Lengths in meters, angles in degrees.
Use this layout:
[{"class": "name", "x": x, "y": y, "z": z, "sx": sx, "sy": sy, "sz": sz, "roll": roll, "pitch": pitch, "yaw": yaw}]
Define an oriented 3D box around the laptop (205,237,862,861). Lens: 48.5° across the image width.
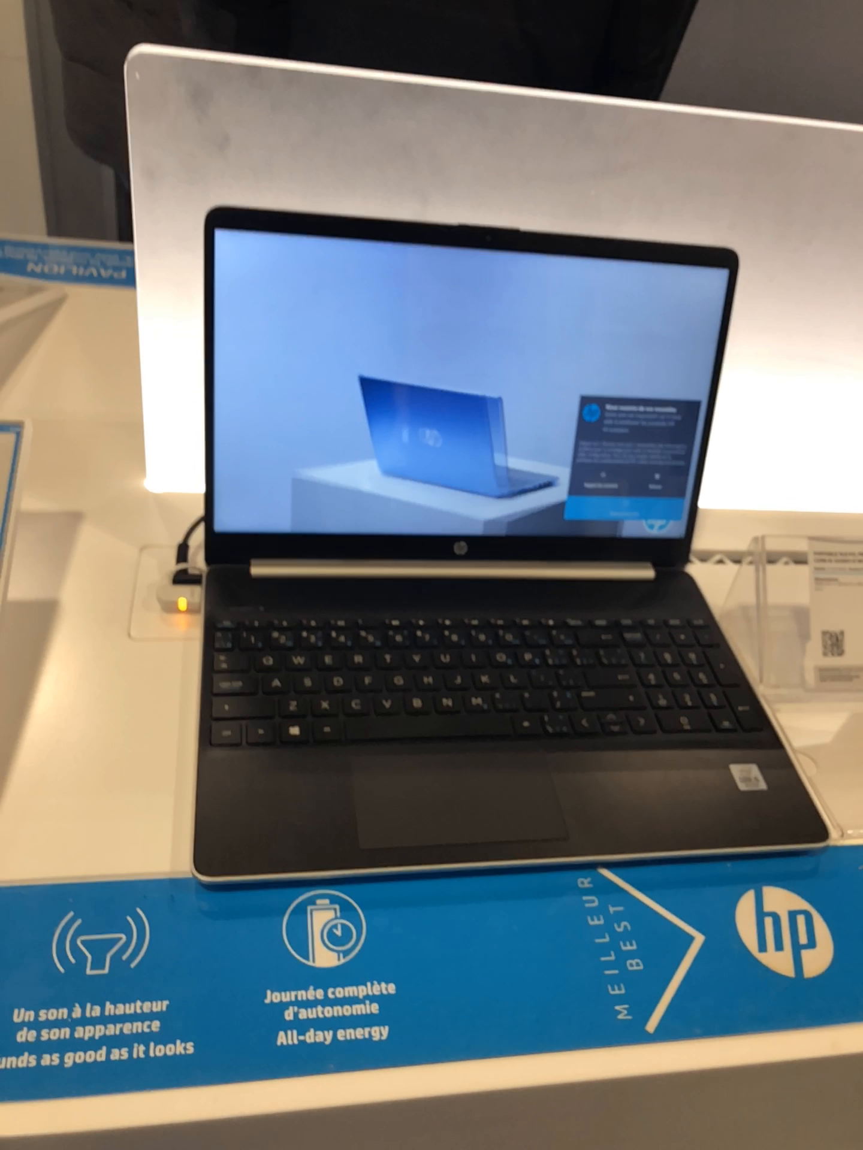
[{"class": "laptop", "x": 0.049, "y": -0.031, "z": 0.559, "sx": 0.336, "sy": 0.206, "sz": 0.317, "roll": 1, "pitch": 38, "yaw": -11}]
